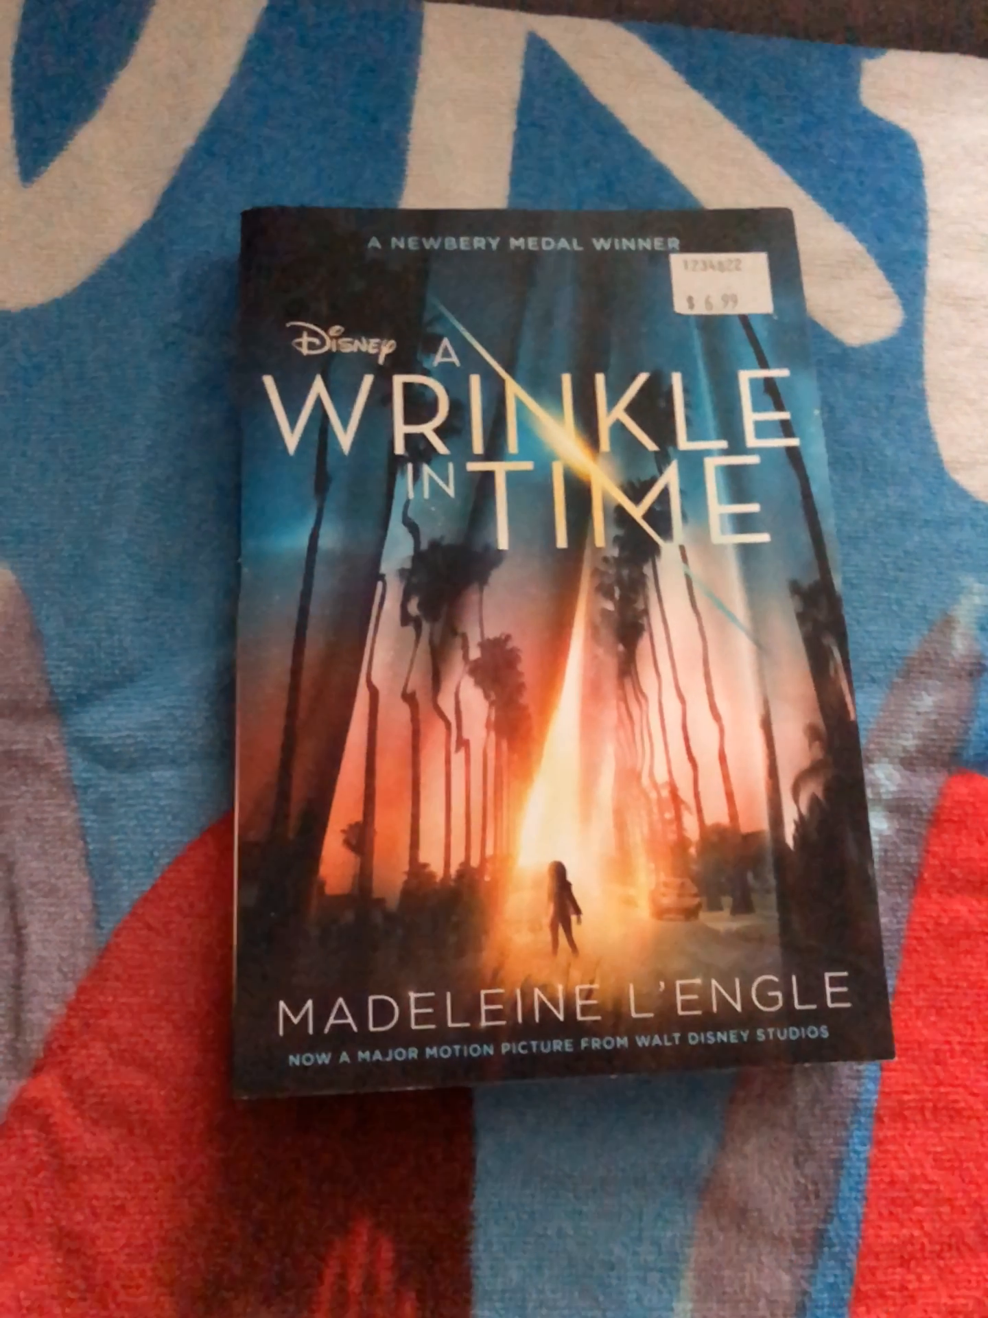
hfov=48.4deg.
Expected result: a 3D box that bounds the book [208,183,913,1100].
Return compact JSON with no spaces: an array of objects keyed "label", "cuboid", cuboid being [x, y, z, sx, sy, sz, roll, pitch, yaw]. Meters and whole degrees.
[{"label":"book","cuboid":[0.011,-0.009,0.247,0.138,0.031,0.195,-1,79,-3]}]
